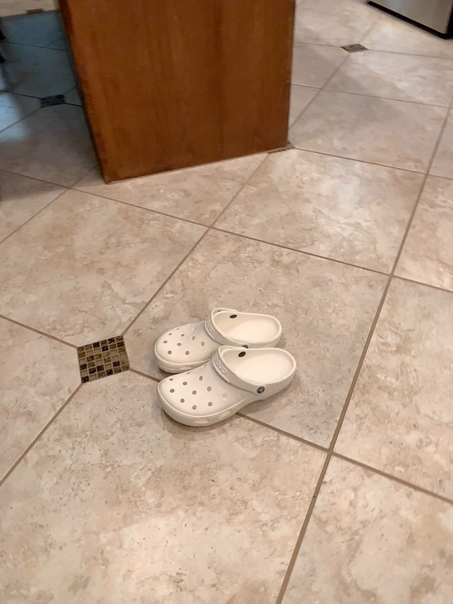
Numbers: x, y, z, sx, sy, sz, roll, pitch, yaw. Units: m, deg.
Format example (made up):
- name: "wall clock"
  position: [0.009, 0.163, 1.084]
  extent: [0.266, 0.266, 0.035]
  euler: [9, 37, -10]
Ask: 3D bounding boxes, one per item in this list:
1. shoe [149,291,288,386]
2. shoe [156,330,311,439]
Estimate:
- name: "shoe"
  position: [-0.018, 0.072, 0.964]
  extent: [0.260, 0.073, 0.130]
  euler: [-11, 46, -8]
- name: "shoe"
  position: [0.011, 0.151, 0.871]
  extent: [0.261, 0.073, 0.119]
  euler: [-14, 47, -10]
